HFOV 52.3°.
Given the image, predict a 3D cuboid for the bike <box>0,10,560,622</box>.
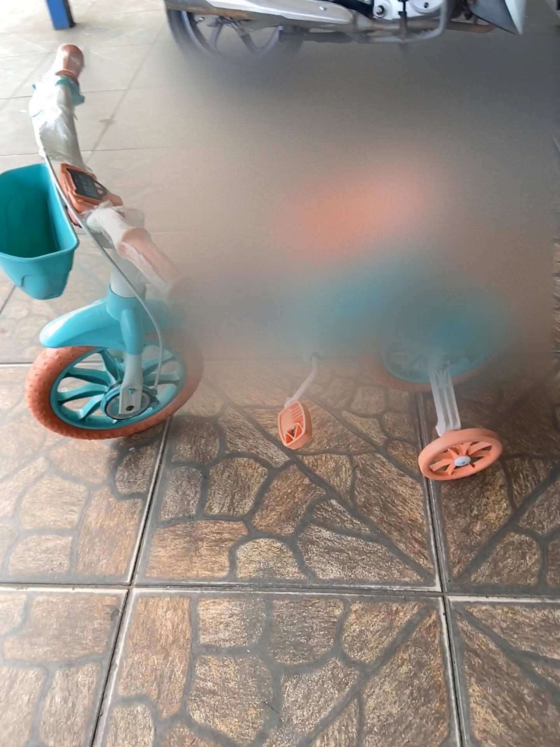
[{"bbox_3d":[0.007,-0.087,0.807,0.806,0.534,0.501,-10,48,-5],"label":"bike"}]
